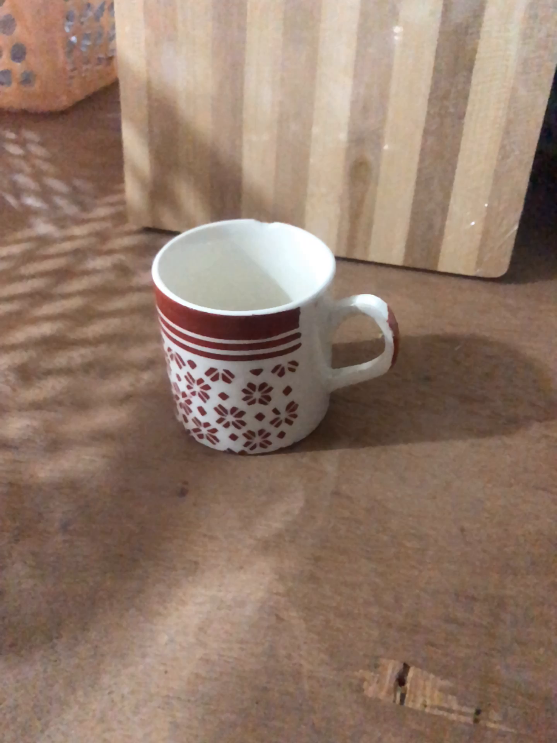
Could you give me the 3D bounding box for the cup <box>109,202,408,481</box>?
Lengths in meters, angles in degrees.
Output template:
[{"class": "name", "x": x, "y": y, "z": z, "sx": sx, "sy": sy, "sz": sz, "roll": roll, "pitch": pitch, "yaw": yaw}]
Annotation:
[{"class": "cup", "x": -0.001, "y": -0.013, "z": 0.233, "sx": 0.090, "sy": 0.070, "sz": 0.070, "roll": 4, "pitch": 41, "yaw": 8}]
